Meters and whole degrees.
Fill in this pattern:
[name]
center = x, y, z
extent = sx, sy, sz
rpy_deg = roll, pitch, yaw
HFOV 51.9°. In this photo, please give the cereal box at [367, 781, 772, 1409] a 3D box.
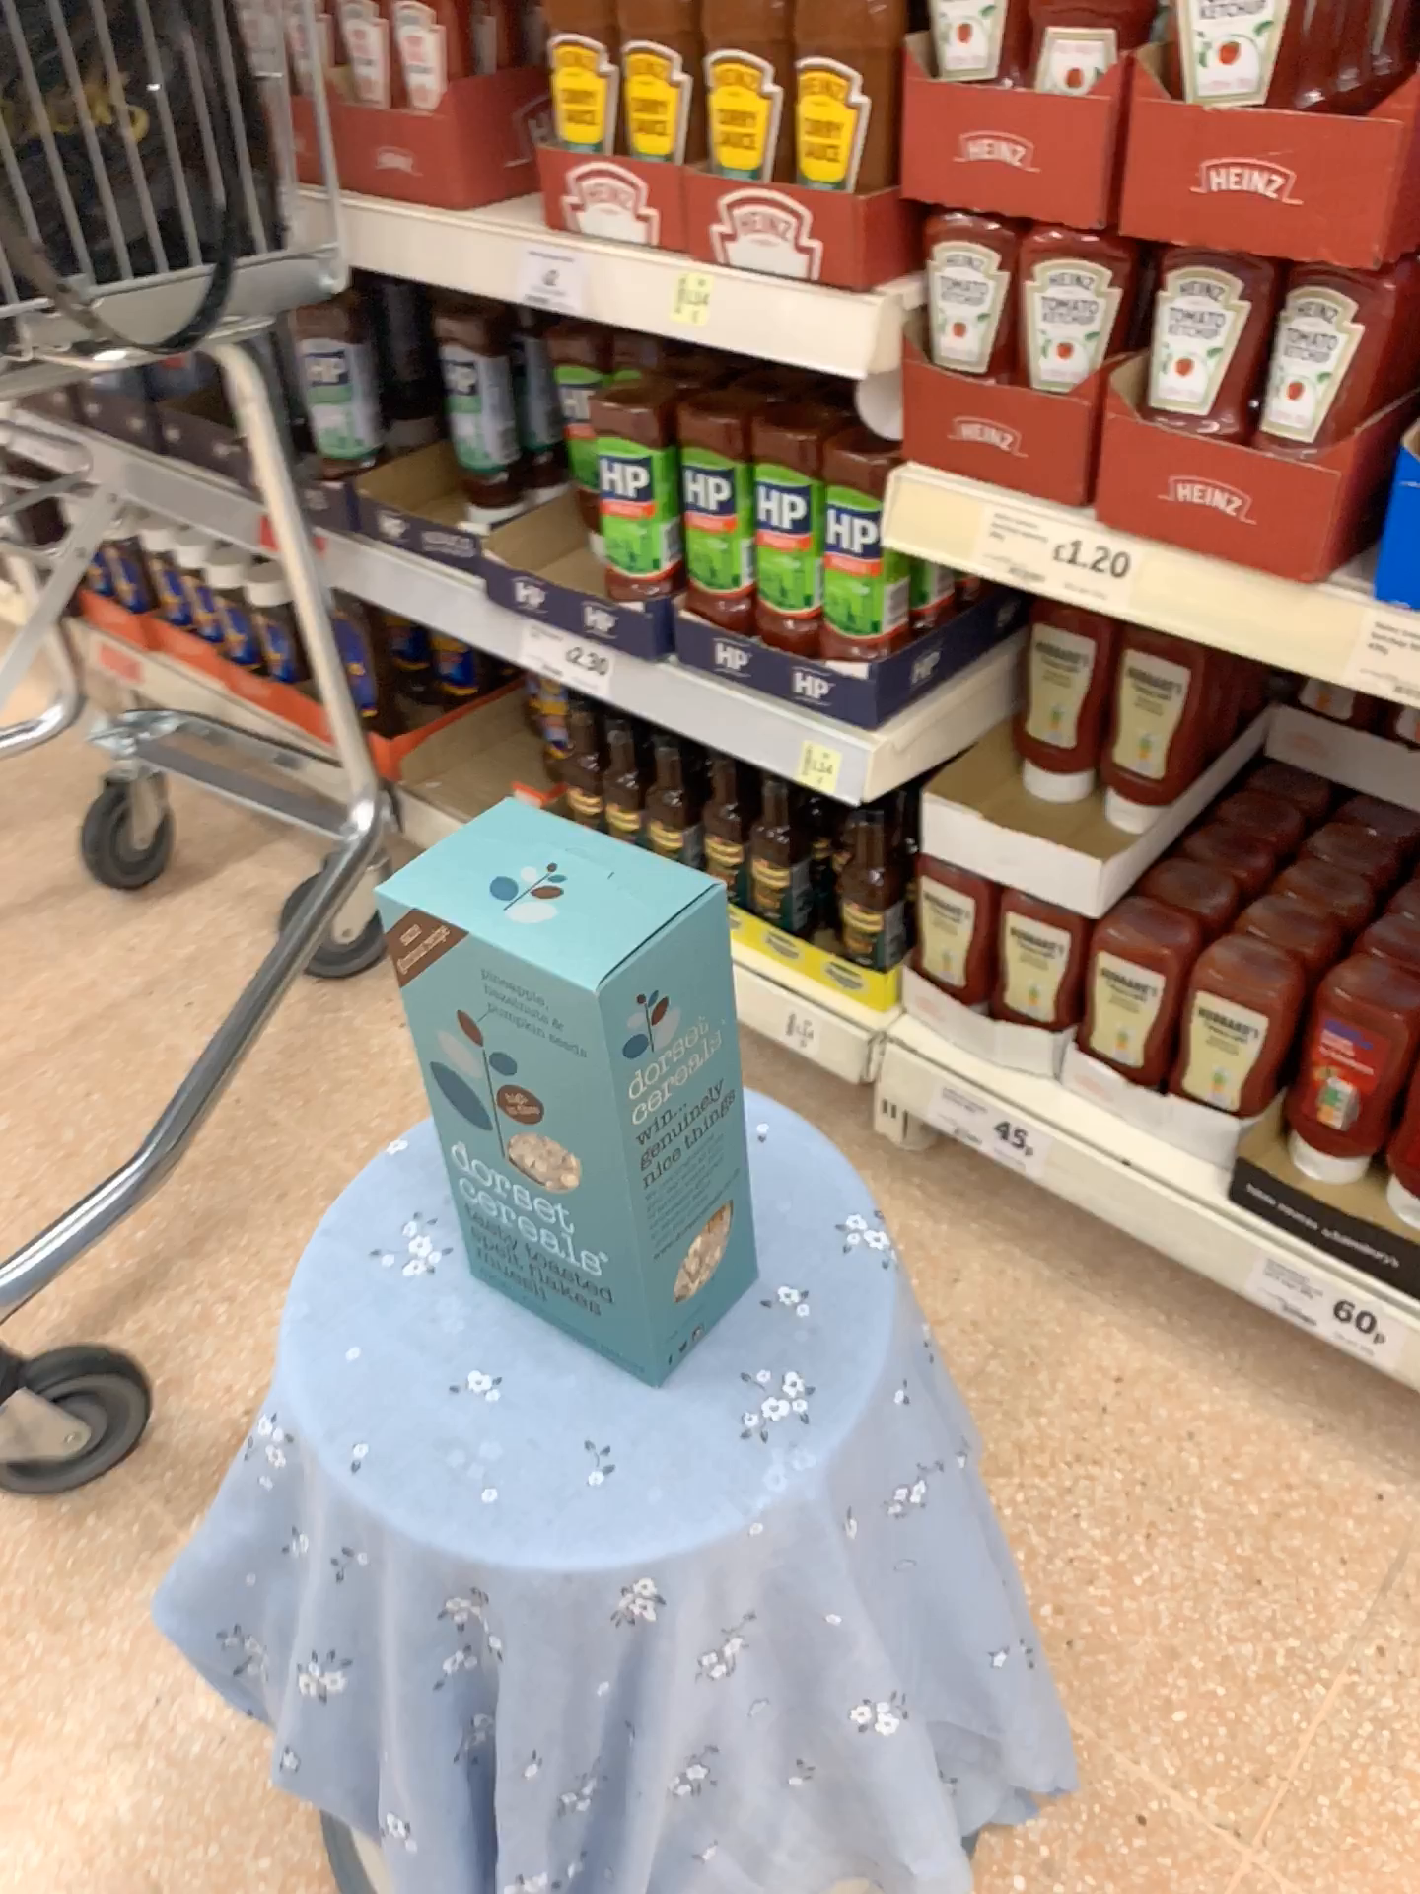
[cereal box]
center = -0.051, 0.067, 0.630
extent = 0.120, 0.238, 0.091
rpy_deg = 22, 45, 29
